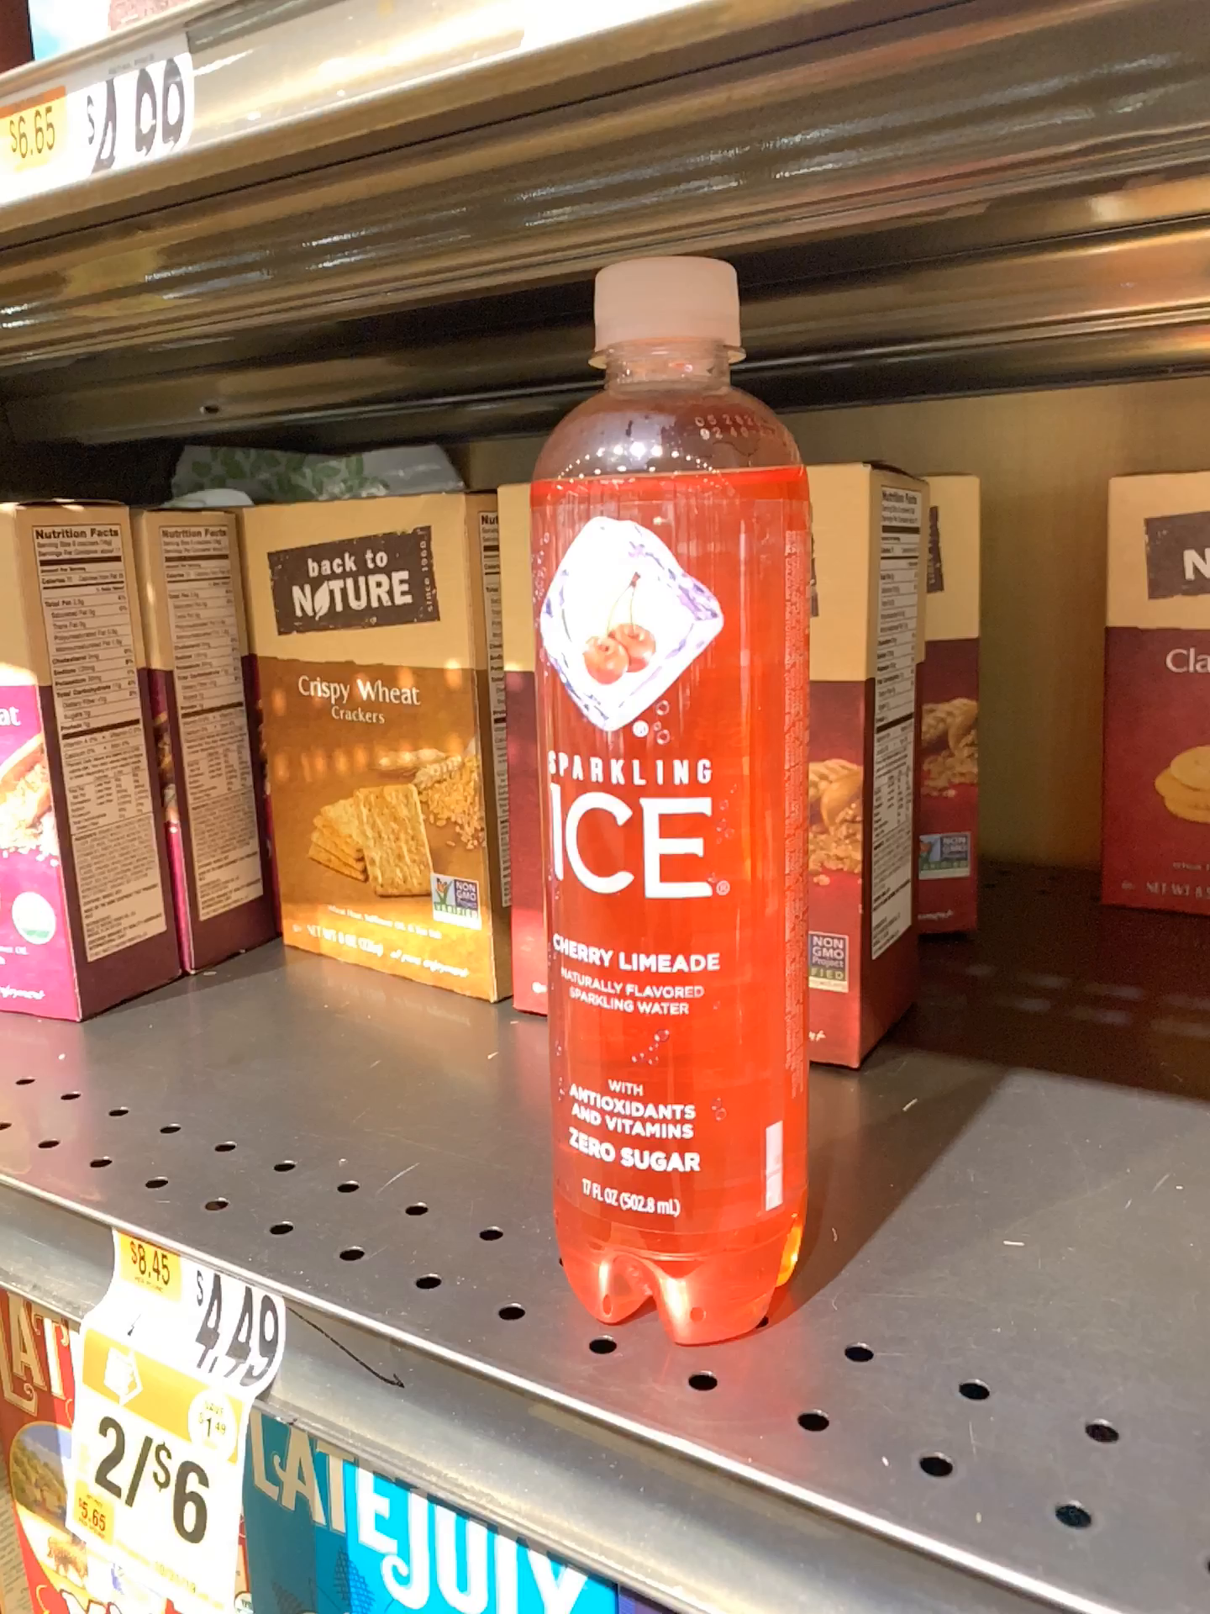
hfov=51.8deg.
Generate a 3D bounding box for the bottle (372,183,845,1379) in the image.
[{"bbox_3d":[0.007,-0.003,0.255,0.066,0.211,0.060,-3,14,1],"label":"bottle"}]
